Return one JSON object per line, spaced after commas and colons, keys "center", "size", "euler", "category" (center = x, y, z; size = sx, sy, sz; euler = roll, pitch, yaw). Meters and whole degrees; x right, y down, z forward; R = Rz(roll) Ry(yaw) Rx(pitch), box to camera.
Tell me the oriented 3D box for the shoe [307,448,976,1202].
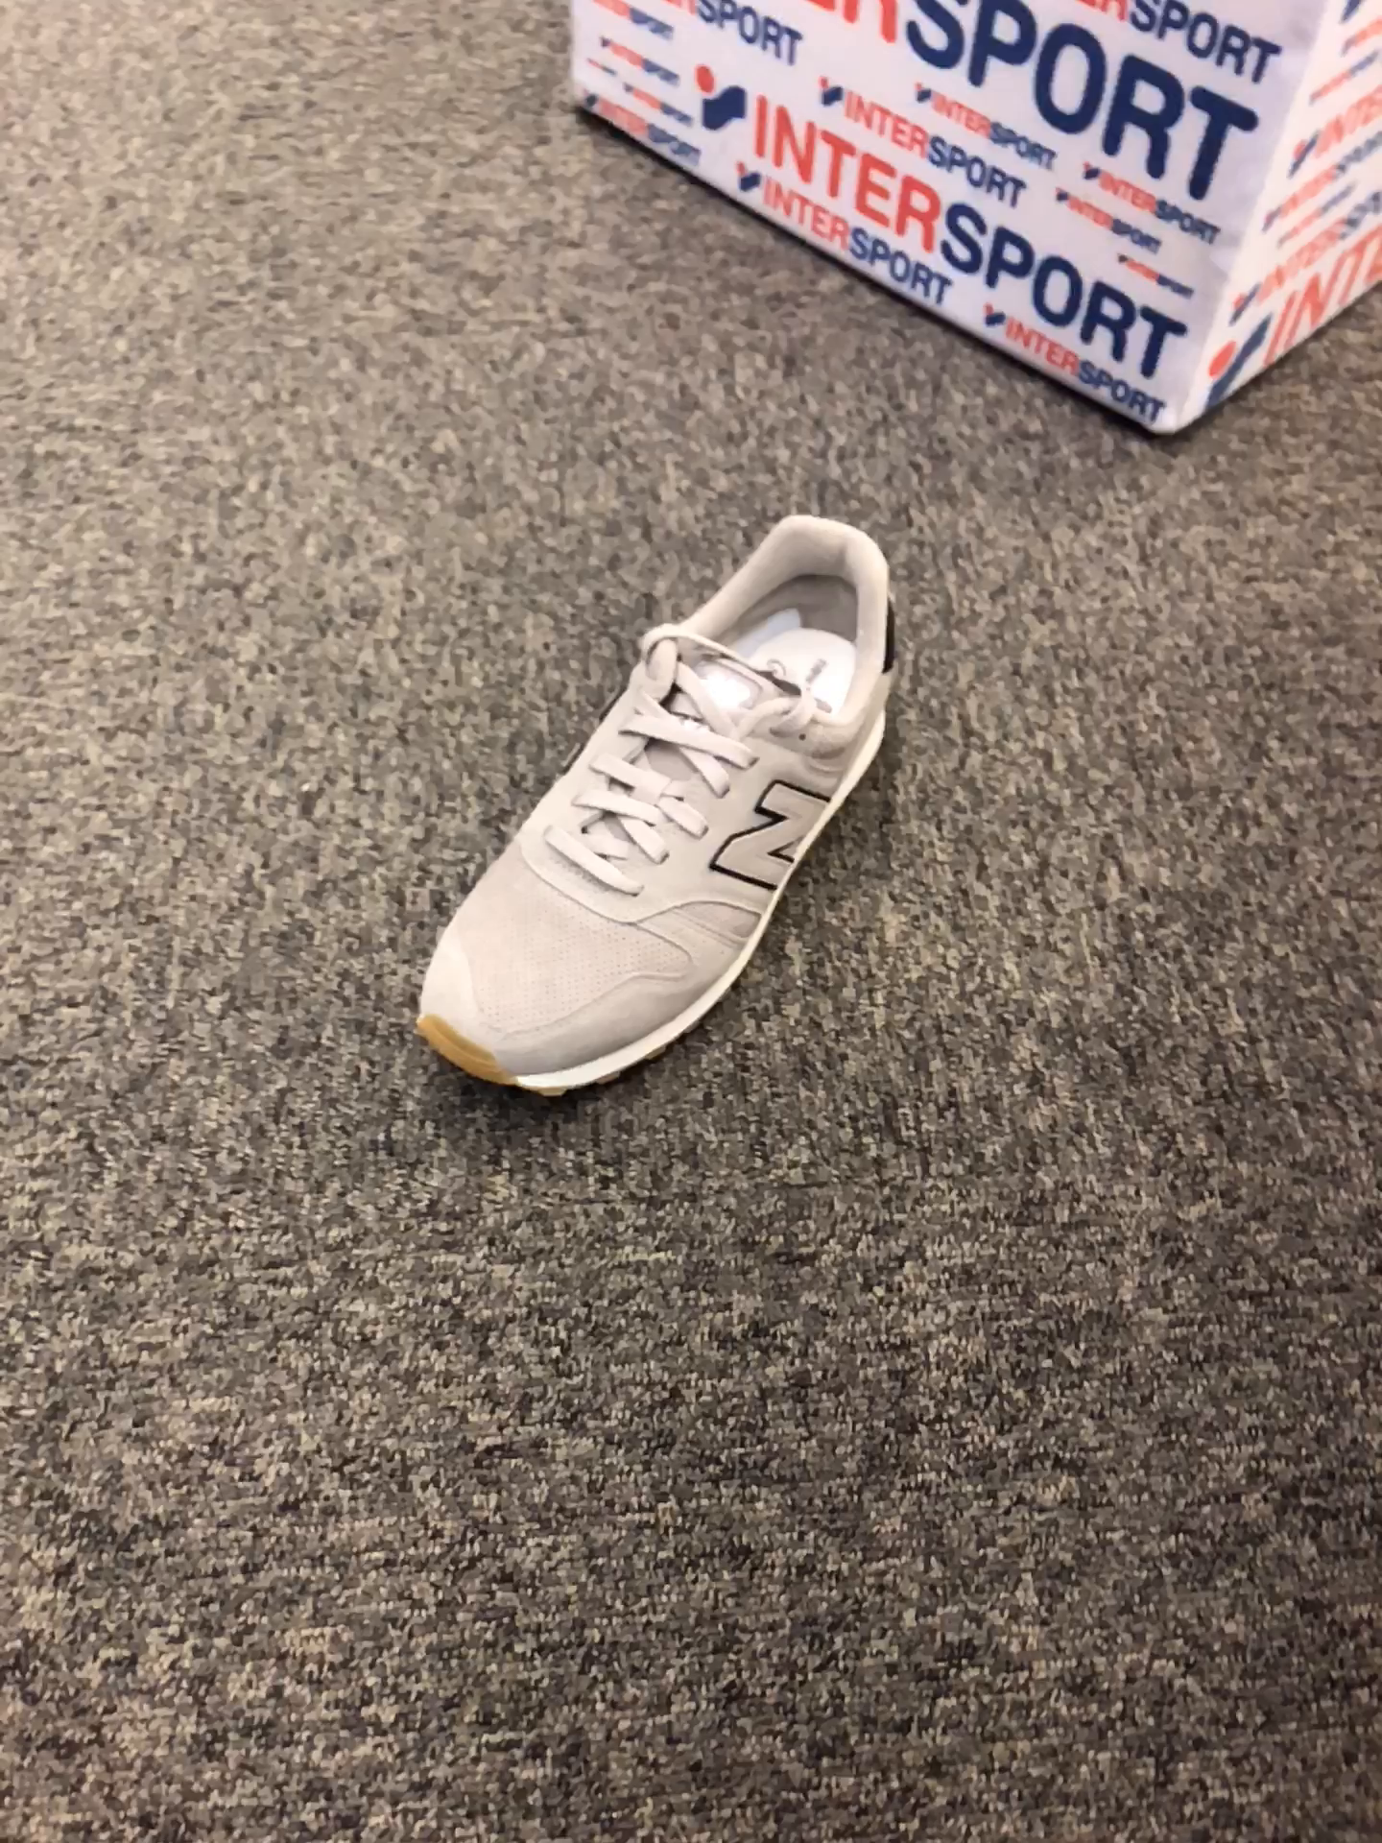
{"center": [-0.008, -0.044, 0.571], "size": [0.100, 0.110, 0.261], "euler": [29, 60, 17], "category": "shoe"}
